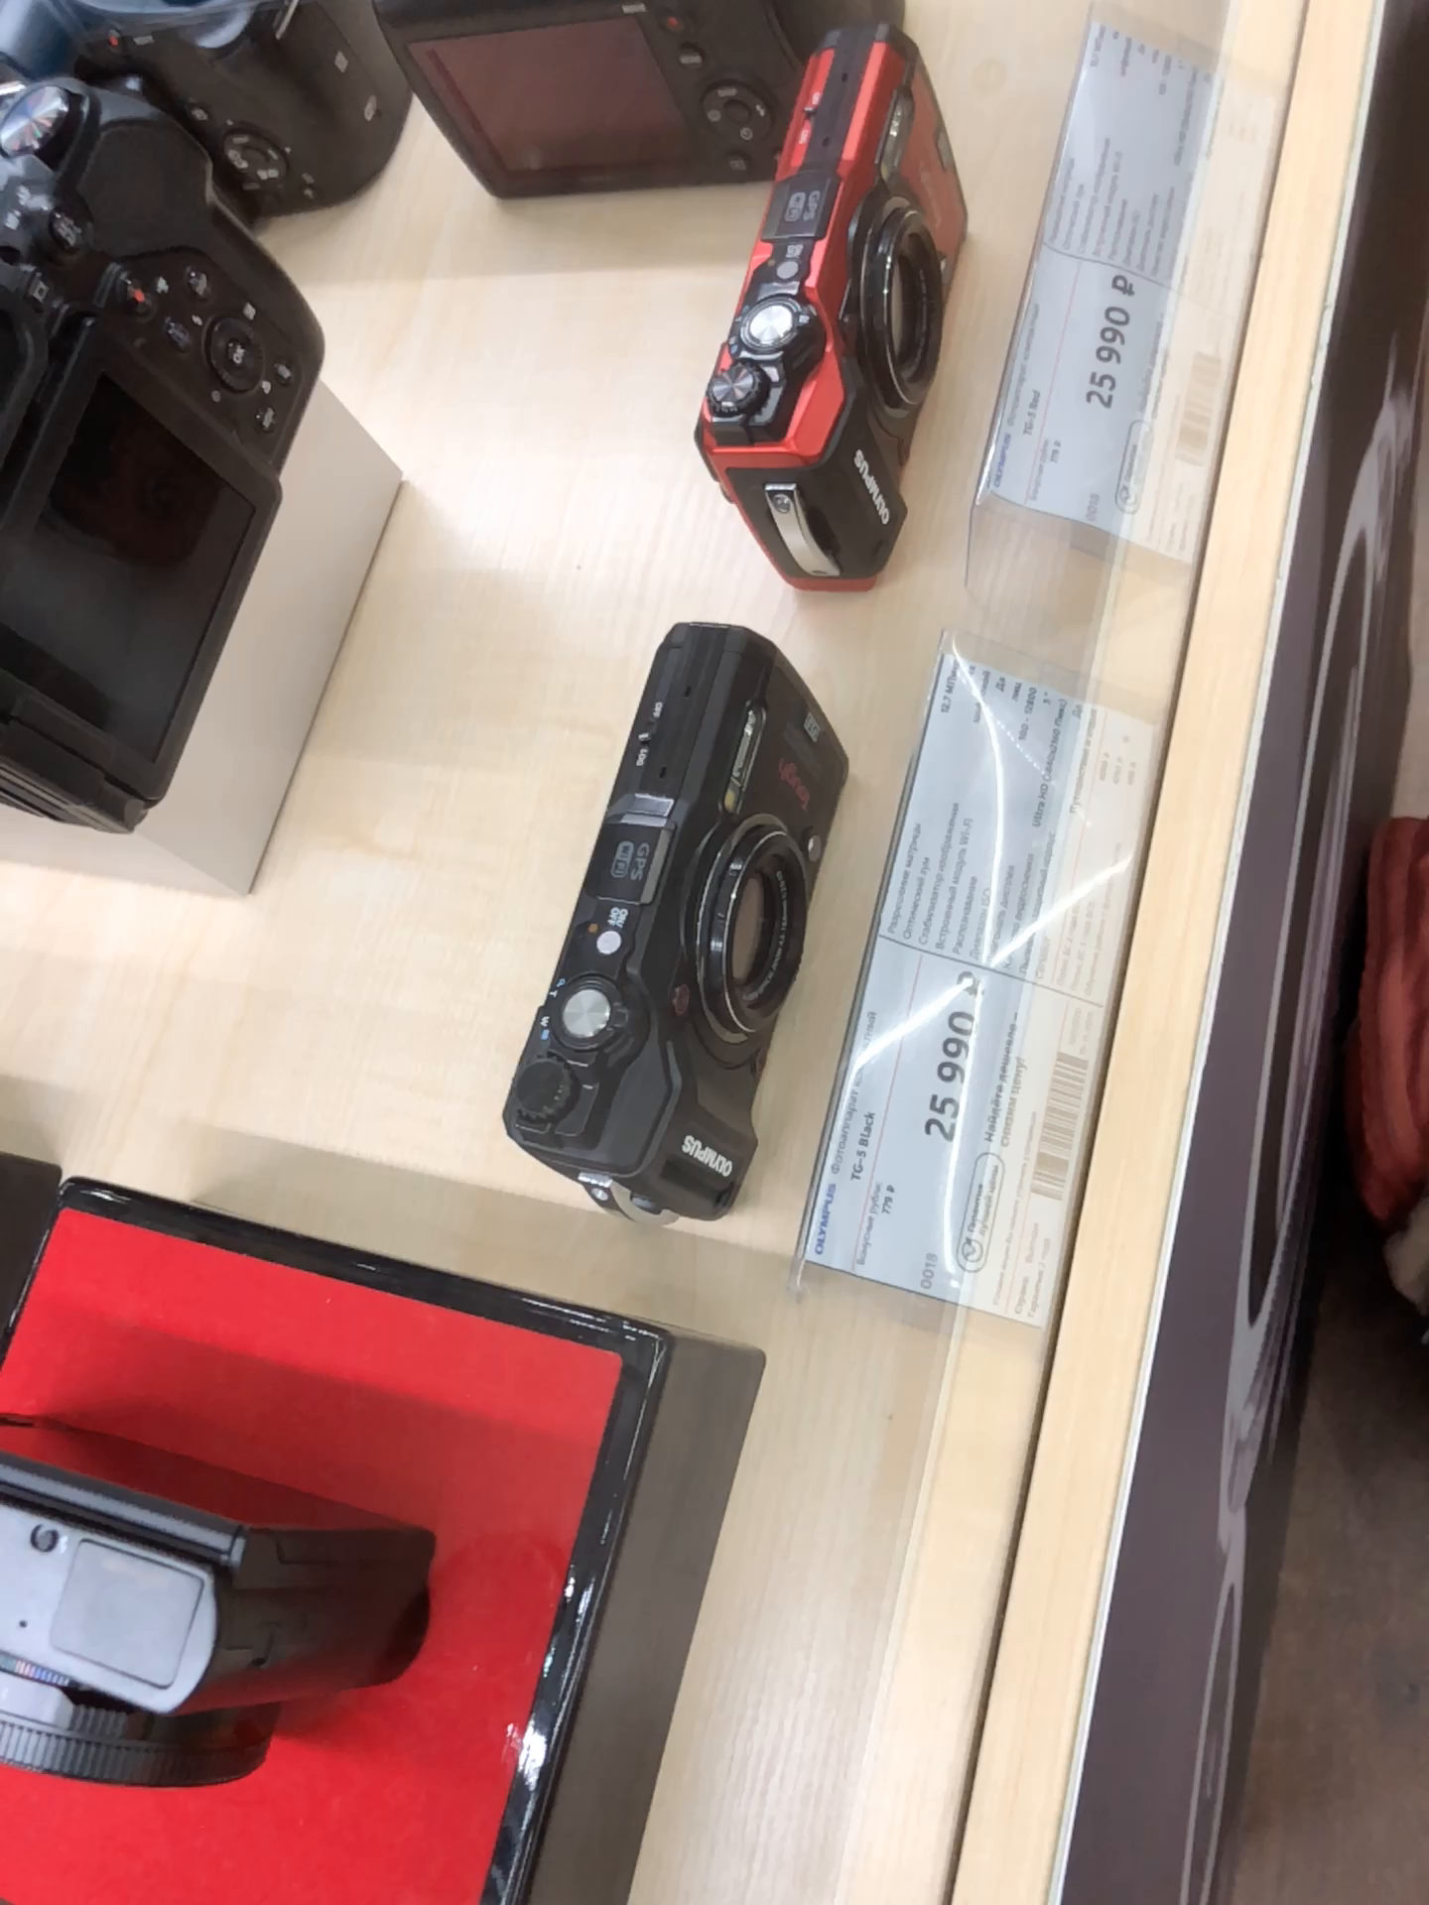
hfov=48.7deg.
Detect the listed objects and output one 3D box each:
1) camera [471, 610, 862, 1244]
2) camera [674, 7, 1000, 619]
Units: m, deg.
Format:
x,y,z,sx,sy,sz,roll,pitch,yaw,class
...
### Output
x,y,z,sx,sy,sz,roll,pitch,yaw,class
-0.006,-0.004,0.332,0.030,0.060,0.117,9,73,25,camera
0.032,-0.144,0.361,0.030,0.060,0.117,9,73,25,camera
